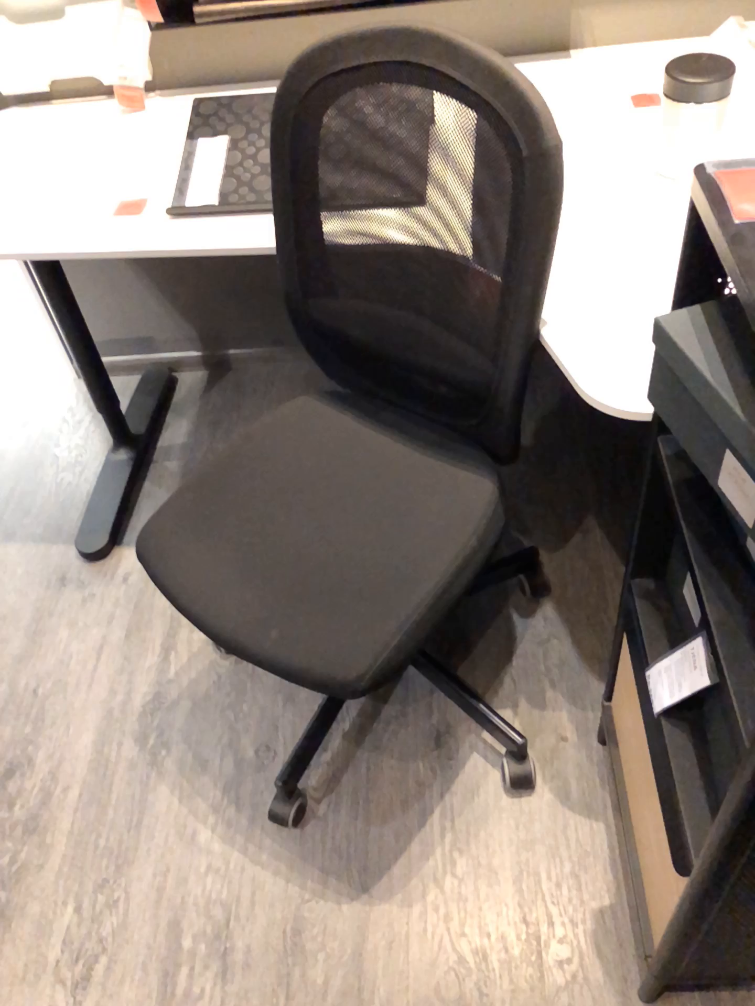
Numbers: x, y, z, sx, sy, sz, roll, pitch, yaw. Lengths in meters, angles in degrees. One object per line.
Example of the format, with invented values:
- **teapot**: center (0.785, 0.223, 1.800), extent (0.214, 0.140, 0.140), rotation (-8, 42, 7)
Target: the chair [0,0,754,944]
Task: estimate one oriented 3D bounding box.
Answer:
- **chair**: center (-0.027, -0.062, 1.090), extent (0.632, 0.884, 0.712), rotation (24, 55, 27)
